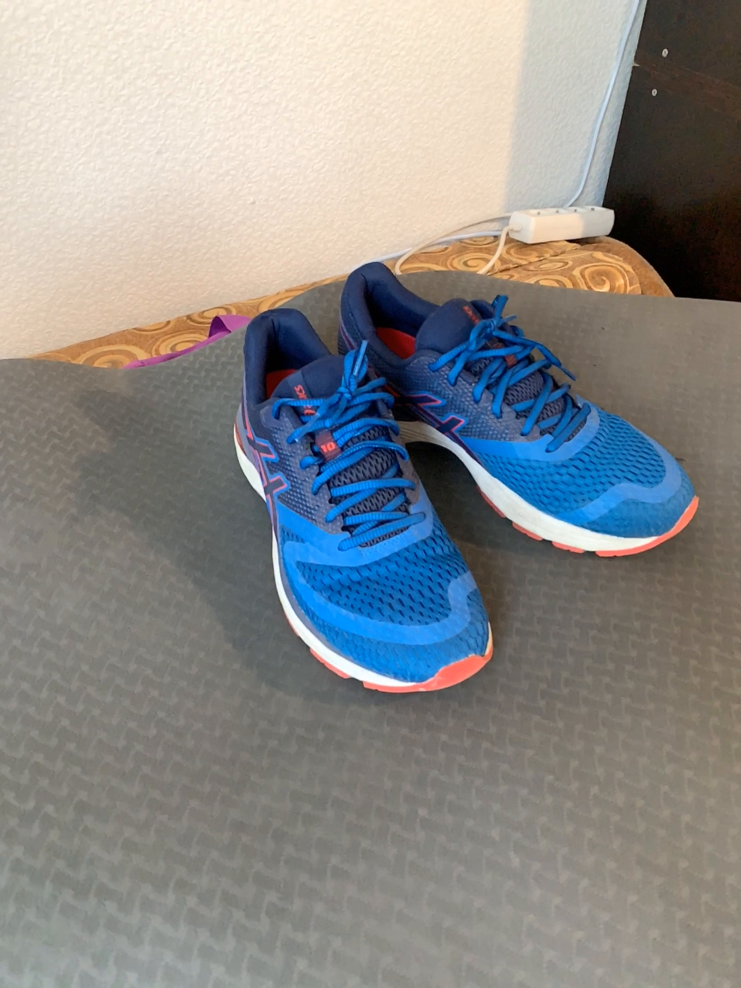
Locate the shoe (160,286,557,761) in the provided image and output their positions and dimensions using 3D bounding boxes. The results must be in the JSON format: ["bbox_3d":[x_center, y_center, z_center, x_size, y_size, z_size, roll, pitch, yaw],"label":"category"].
[{"bbox_3d":[-0.027,-0.005,0.496,0.120,0.109,0.301,-20,48,-18],"label":"shoe"}]

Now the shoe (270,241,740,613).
[{"bbox_3d":[0.081,-0.064,0.548,0.301,0.109,0.120,31,53,28],"label":"shoe"}]
